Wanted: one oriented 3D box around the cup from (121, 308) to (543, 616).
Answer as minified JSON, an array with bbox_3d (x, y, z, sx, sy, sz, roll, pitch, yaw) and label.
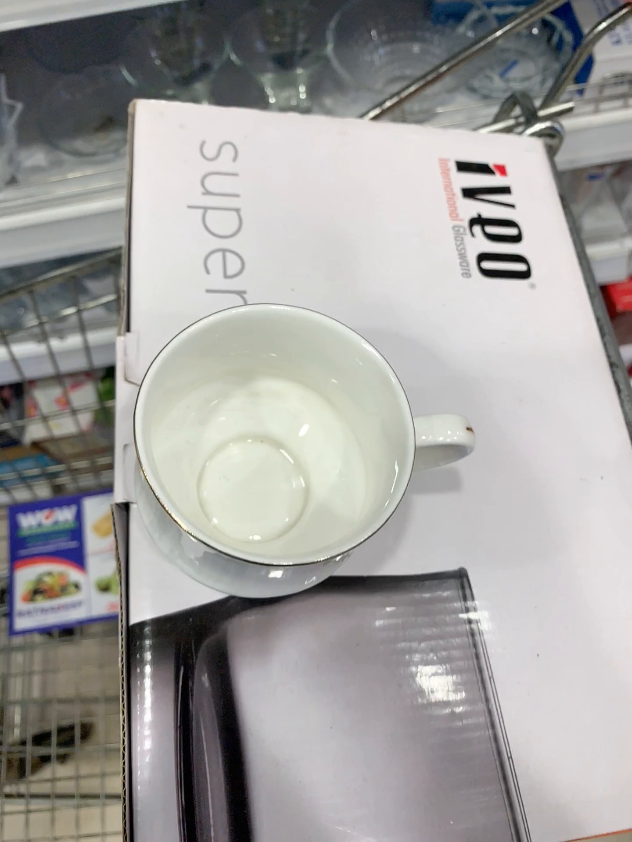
[{"bbox_3d":[-0.002,0.011,0.171,0.090,0.050,0.060,-2,68,-18],"label":"cup"}]
